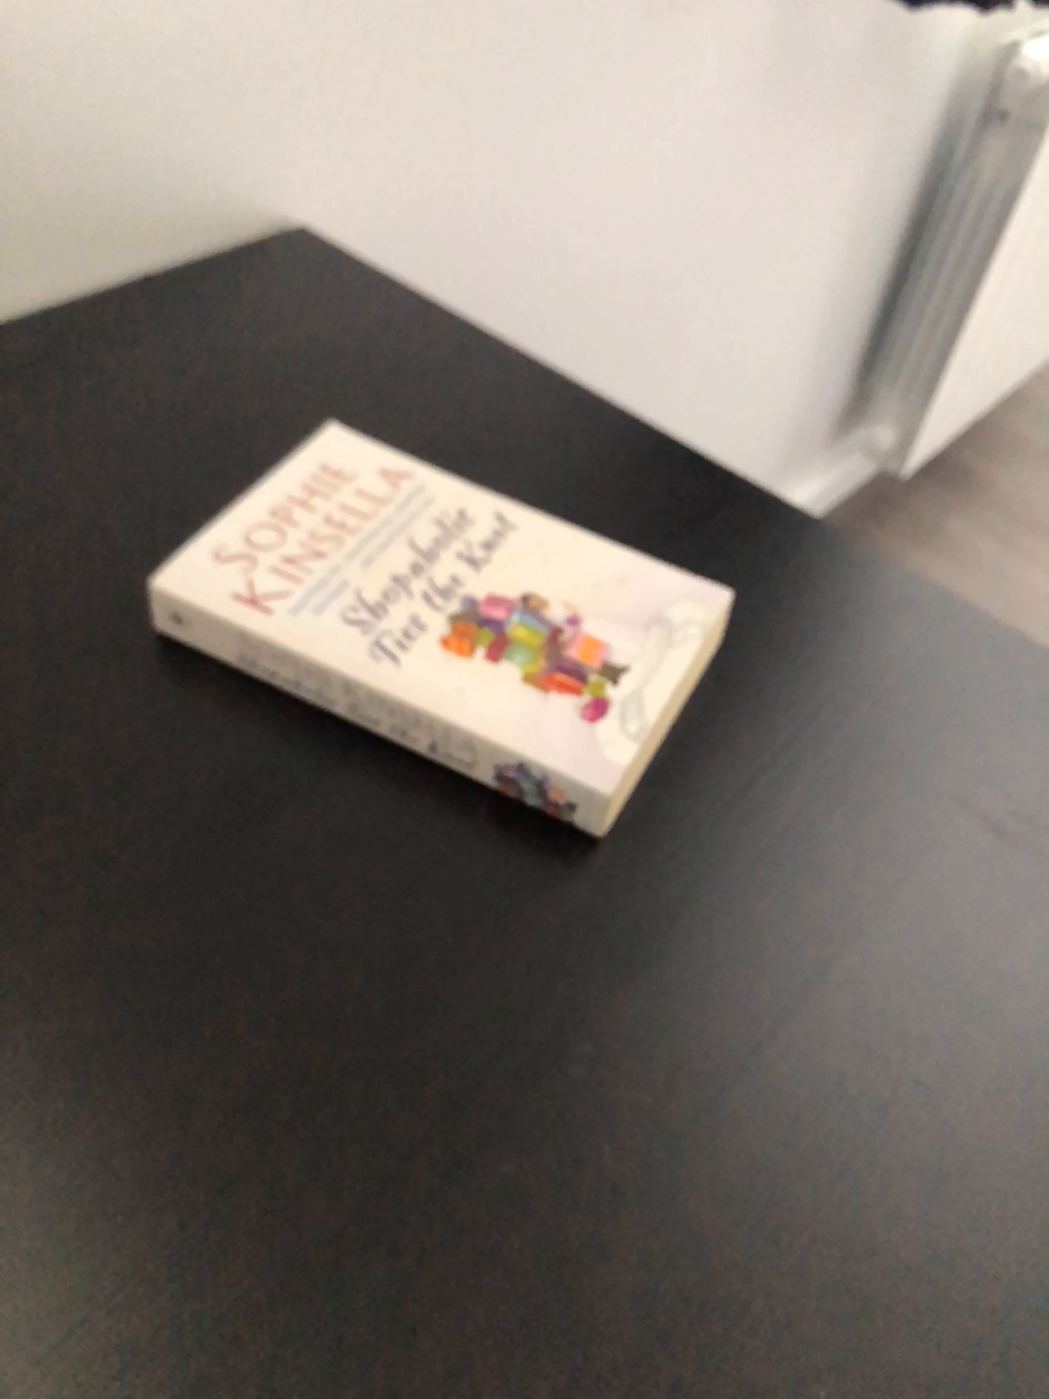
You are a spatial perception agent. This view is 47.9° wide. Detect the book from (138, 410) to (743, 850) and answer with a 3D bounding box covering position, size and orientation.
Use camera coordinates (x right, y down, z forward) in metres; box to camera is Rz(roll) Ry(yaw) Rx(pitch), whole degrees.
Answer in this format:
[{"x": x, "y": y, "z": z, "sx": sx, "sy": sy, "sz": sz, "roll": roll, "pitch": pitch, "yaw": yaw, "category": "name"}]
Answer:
[{"x": -0.030, "y": -0.038, "z": 0.479, "sx": 0.200, "sy": 0.035, "sz": 0.131, "roll": 24, "pitch": 49, "yaw": 14, "category": "book"}]
